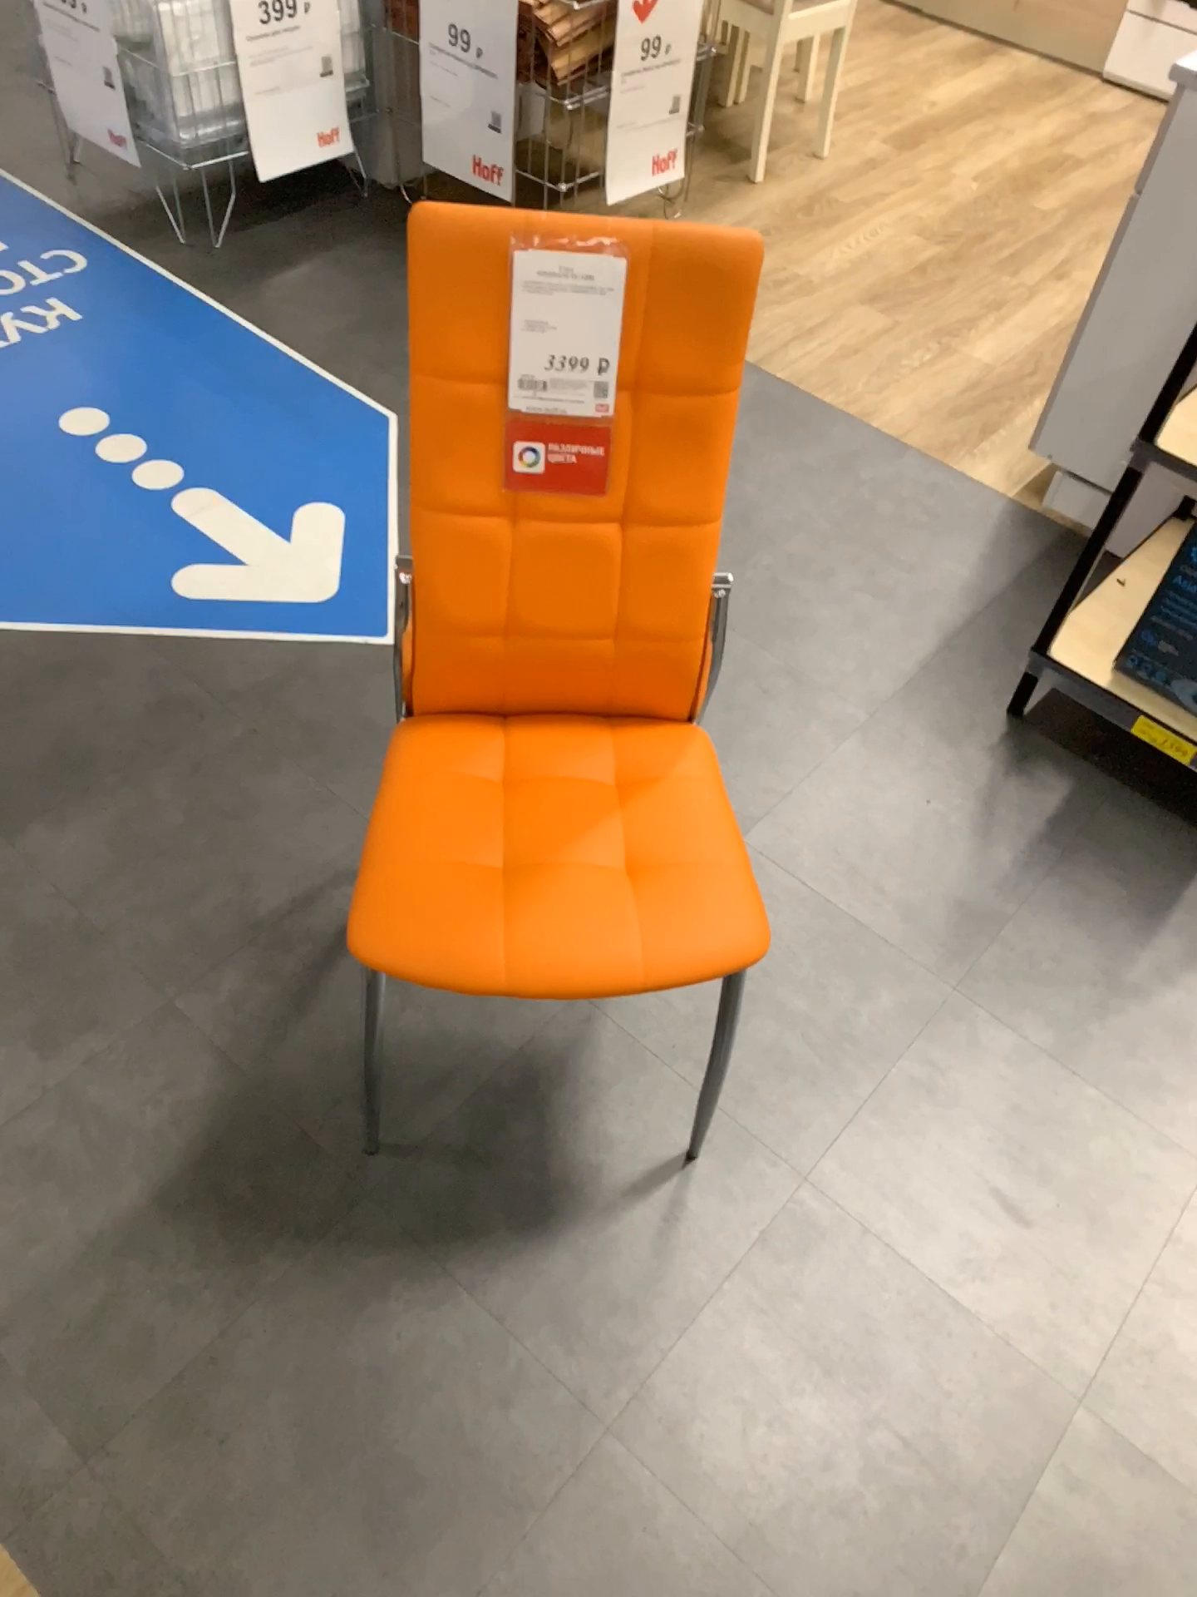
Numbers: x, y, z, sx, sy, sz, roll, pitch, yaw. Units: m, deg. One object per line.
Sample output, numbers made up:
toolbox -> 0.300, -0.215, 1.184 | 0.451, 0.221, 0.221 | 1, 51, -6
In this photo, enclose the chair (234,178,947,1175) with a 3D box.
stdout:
chair -> -0.051, -0.048, 1.390 | 0.490, 1.015, 0.543 | 3, 49, -5
